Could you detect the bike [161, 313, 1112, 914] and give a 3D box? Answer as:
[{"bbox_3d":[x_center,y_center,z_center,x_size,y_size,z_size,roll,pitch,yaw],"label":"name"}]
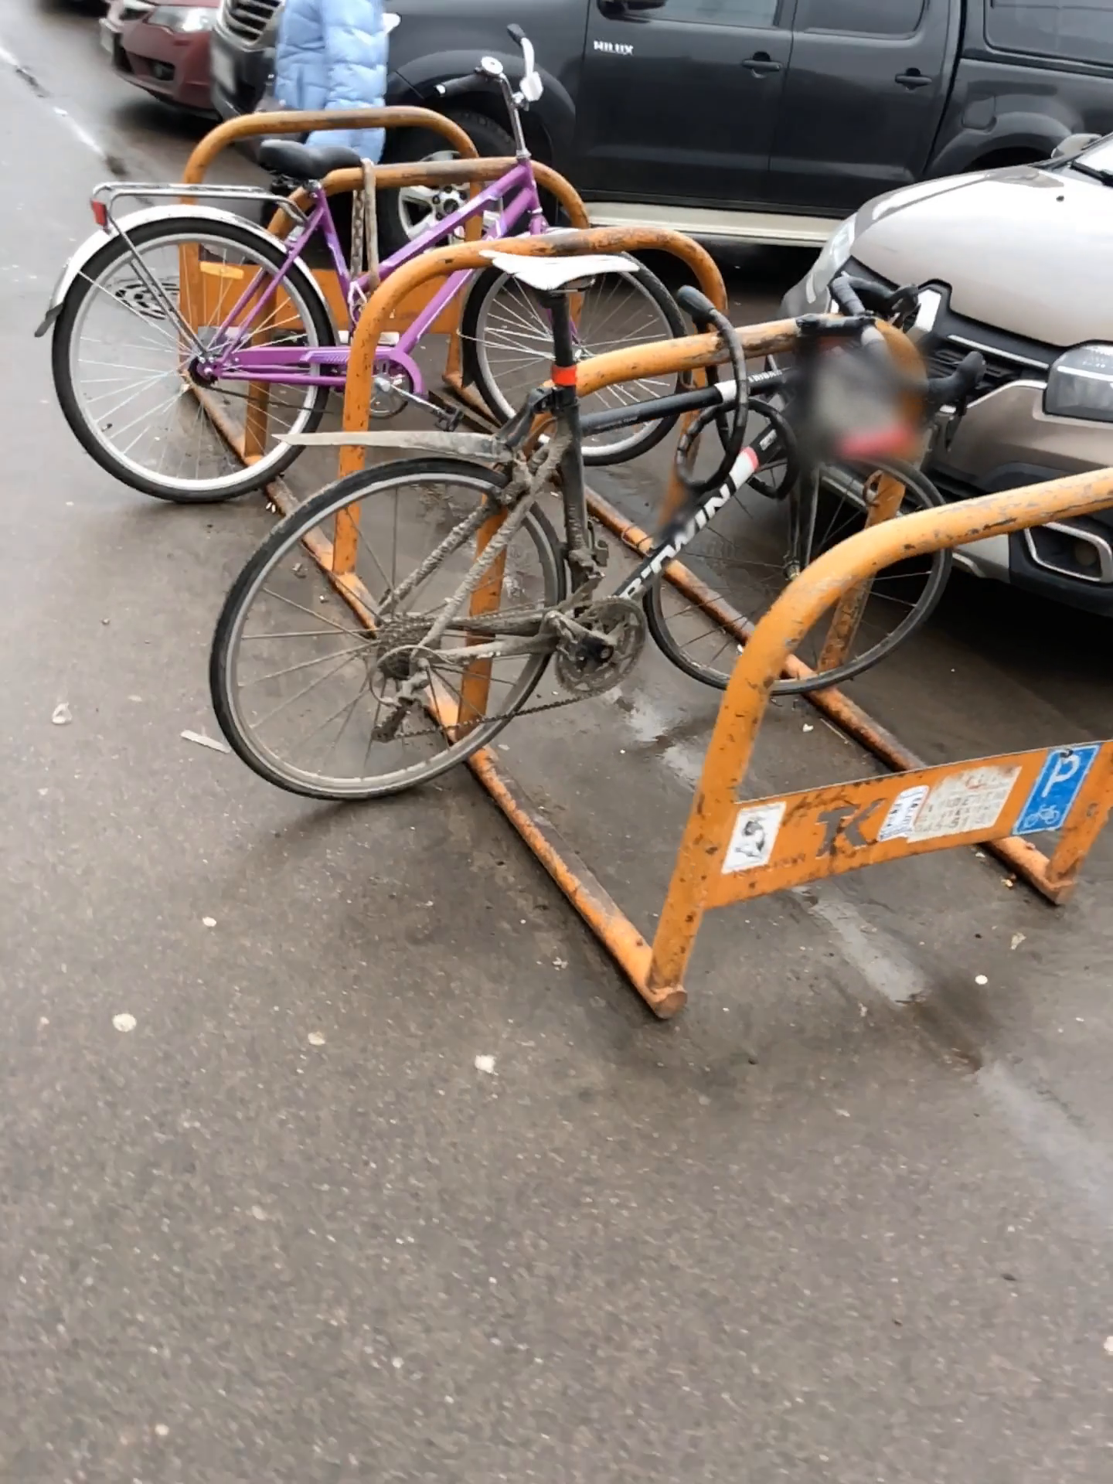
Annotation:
[{"bbox_3d":[0.146,-0.304,2.166,1.518,0.761,0.491,-9,37,-27],"label":"bike"}]
